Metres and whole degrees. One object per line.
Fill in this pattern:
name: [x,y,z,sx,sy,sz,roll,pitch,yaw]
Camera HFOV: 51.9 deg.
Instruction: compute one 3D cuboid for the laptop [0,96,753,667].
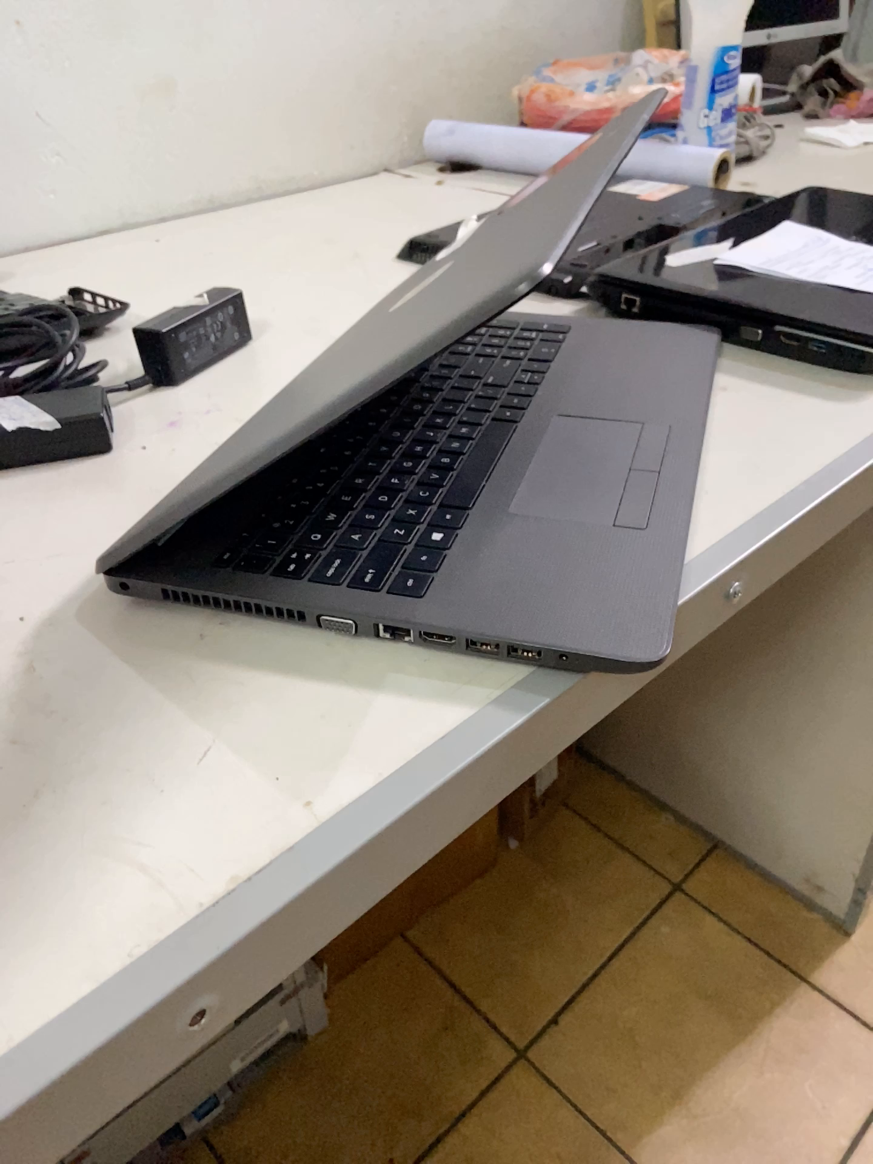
laptop: [0.022,-0.151,0.478,0.247,0.141,0.381,9,37,15]
